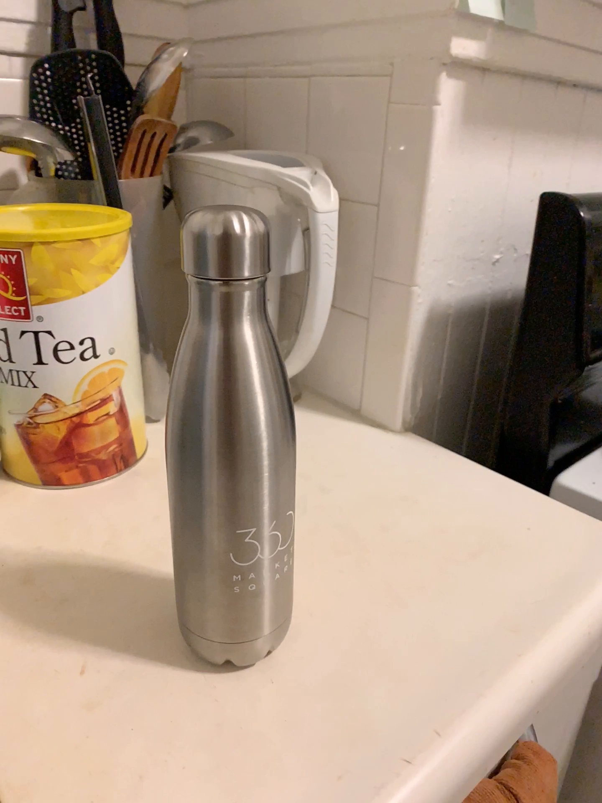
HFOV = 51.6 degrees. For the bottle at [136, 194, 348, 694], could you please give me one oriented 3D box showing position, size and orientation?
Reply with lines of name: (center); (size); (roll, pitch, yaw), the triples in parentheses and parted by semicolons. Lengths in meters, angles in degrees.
bottle: (-0.033, 0.025, 0.332); (0.070, 0.249, 0.070); (2, 24, -1)
